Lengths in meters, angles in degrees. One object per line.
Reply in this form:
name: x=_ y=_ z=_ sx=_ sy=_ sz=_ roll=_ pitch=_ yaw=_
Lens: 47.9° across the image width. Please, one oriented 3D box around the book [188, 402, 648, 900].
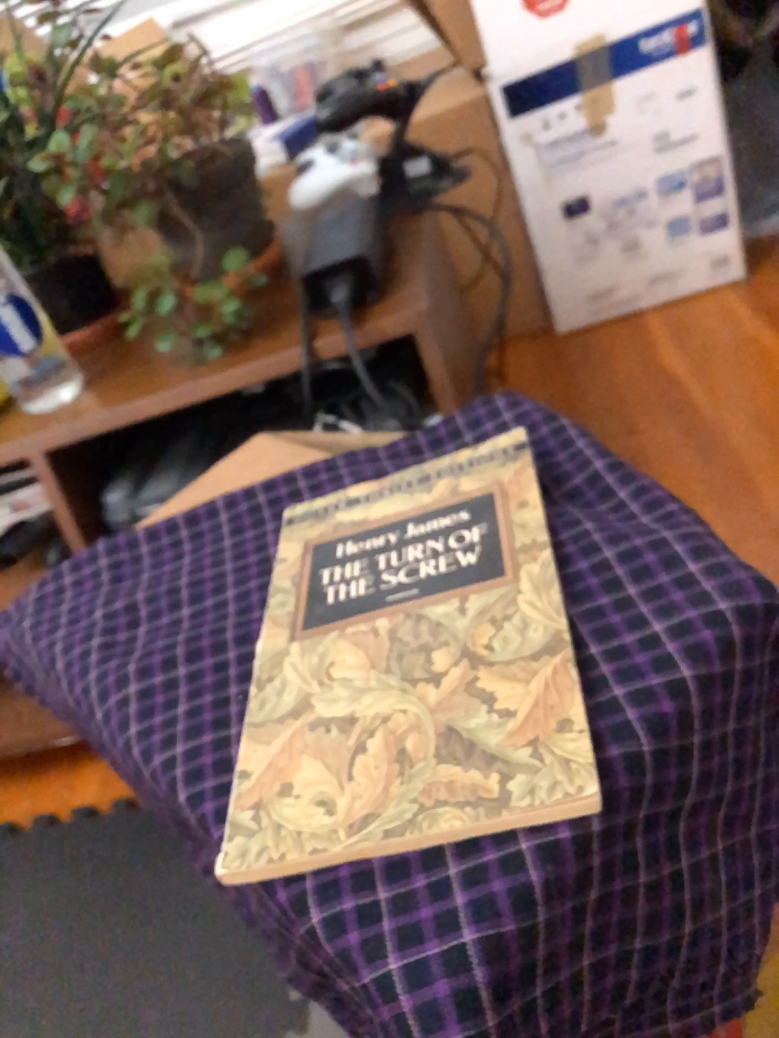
book: x=0.007 y=0.032 z=0.347 sx=0.140 sy=0.010 sz=0.221 roll=-16 pitch=35 yaw=12
